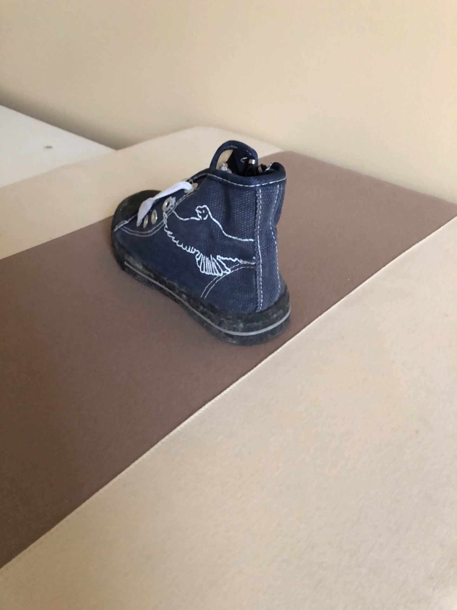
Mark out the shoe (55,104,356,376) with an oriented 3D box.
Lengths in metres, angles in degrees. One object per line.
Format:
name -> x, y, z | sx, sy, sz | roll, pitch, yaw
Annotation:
shoe -> -0.026, -0.061, 0.355 | 0.090, 0.099, 0.200 | -26, 43, -32
